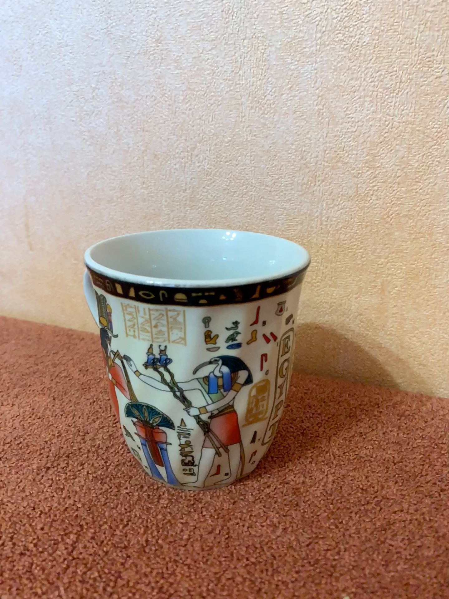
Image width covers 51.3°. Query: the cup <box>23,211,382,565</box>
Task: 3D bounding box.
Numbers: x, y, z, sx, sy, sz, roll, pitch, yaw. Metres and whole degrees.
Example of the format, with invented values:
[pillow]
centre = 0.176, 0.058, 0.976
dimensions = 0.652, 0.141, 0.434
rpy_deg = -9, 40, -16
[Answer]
[cup]
centre = -0.011, 0.019, 0.200
dimensions = 0.116, 0.087, 0.086
rpy_deg = 17, 27, 39
